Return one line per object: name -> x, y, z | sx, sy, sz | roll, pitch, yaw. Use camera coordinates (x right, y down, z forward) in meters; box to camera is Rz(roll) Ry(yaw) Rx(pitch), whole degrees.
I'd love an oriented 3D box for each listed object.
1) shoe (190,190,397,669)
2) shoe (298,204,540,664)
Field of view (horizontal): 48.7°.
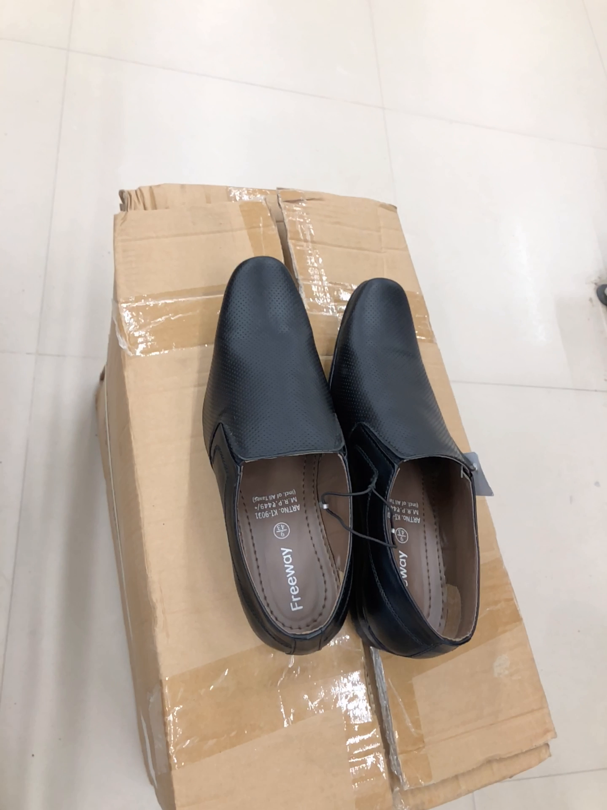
shoe -> -0.021, 0.010, 0.479 | 0.100, 0.100, 0.321 | -2, 68, -11
shoe -> 0.072, 0.018, 0.507 | 0.100, 0.099, 0.321 | 3, 67, -20
